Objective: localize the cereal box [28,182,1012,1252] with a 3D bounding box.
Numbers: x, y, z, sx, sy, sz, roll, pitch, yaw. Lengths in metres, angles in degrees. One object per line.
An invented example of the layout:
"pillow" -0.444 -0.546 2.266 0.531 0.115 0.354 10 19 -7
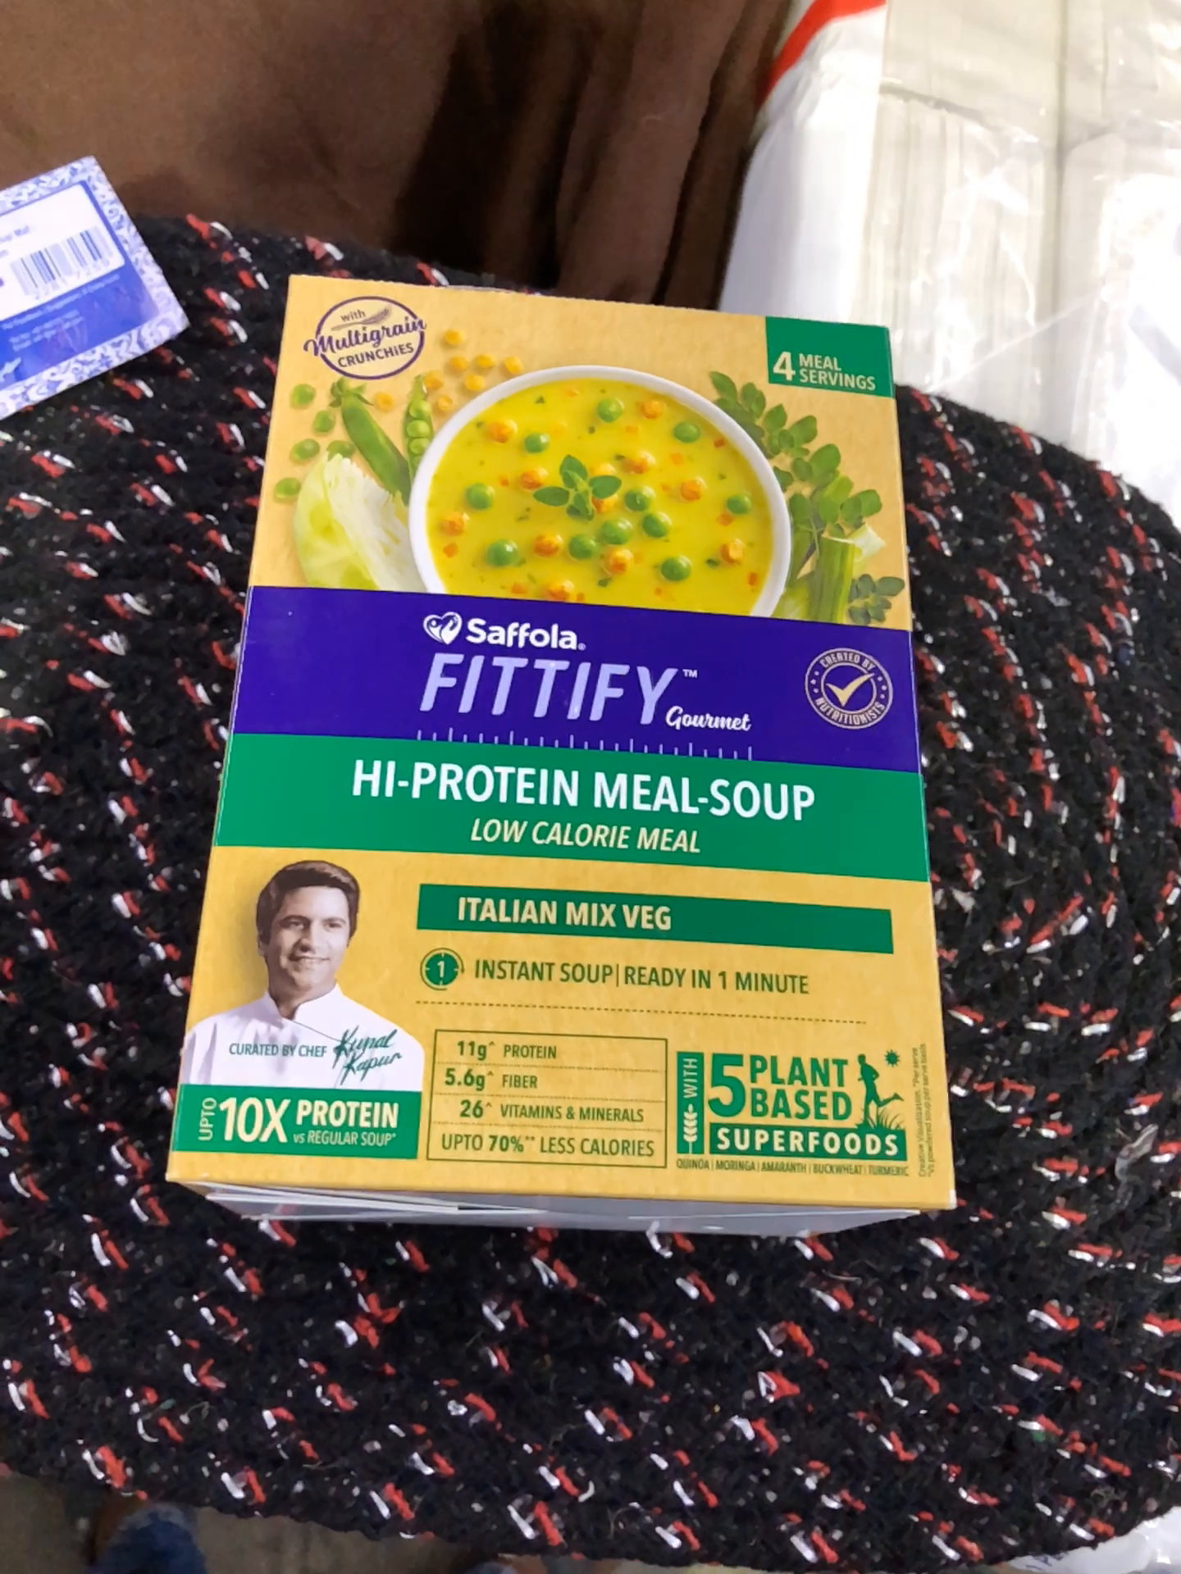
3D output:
"cereal box" -0.008 -0.009 0.243 0.130 0.080 0.170 4 68 -4
